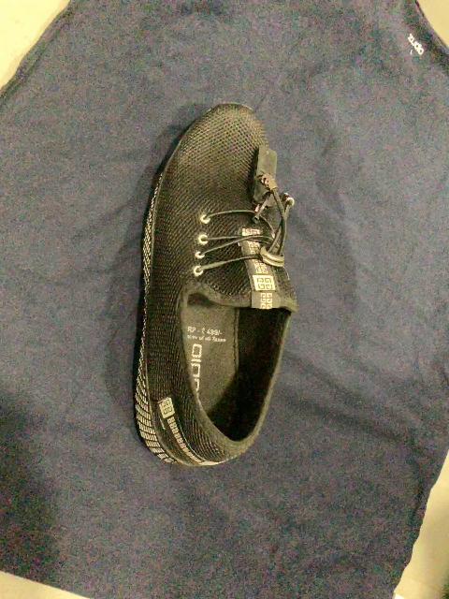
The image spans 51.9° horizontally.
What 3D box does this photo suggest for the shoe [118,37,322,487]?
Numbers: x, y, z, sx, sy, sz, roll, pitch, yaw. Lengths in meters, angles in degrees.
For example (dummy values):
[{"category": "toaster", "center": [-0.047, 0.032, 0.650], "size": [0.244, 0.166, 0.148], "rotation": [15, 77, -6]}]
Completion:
[{"category": "shoe", "center": [-0.004, -0.022, 0.350], "size": [0.100, 0.090, 0.290], "rotation": [9, 82, -23]}]
